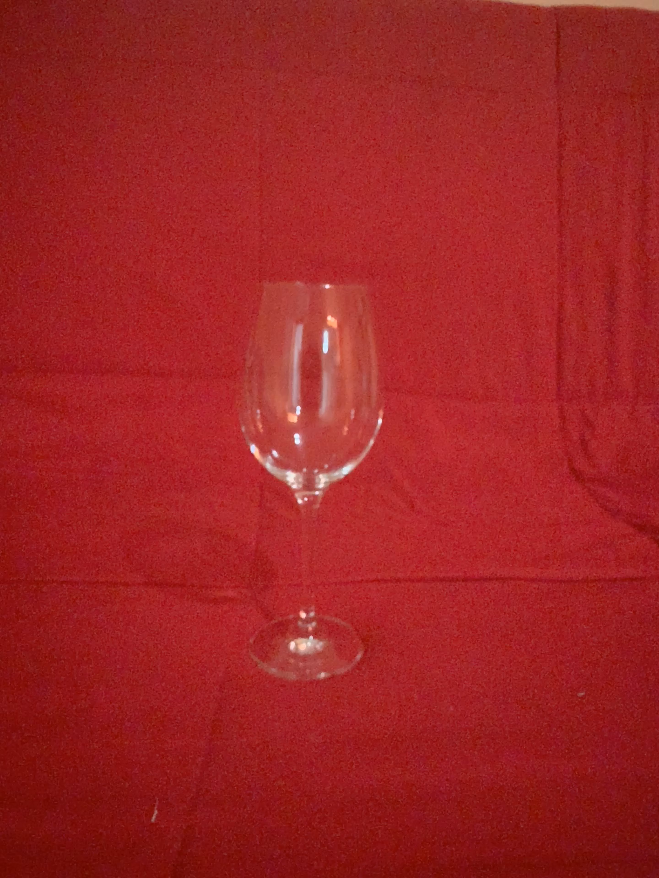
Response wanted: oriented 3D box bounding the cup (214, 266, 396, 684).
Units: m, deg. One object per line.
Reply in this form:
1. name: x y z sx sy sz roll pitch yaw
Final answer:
1. cup: -0.015 0.021 0.429 0.094 0.246 0.083 1 17 0
